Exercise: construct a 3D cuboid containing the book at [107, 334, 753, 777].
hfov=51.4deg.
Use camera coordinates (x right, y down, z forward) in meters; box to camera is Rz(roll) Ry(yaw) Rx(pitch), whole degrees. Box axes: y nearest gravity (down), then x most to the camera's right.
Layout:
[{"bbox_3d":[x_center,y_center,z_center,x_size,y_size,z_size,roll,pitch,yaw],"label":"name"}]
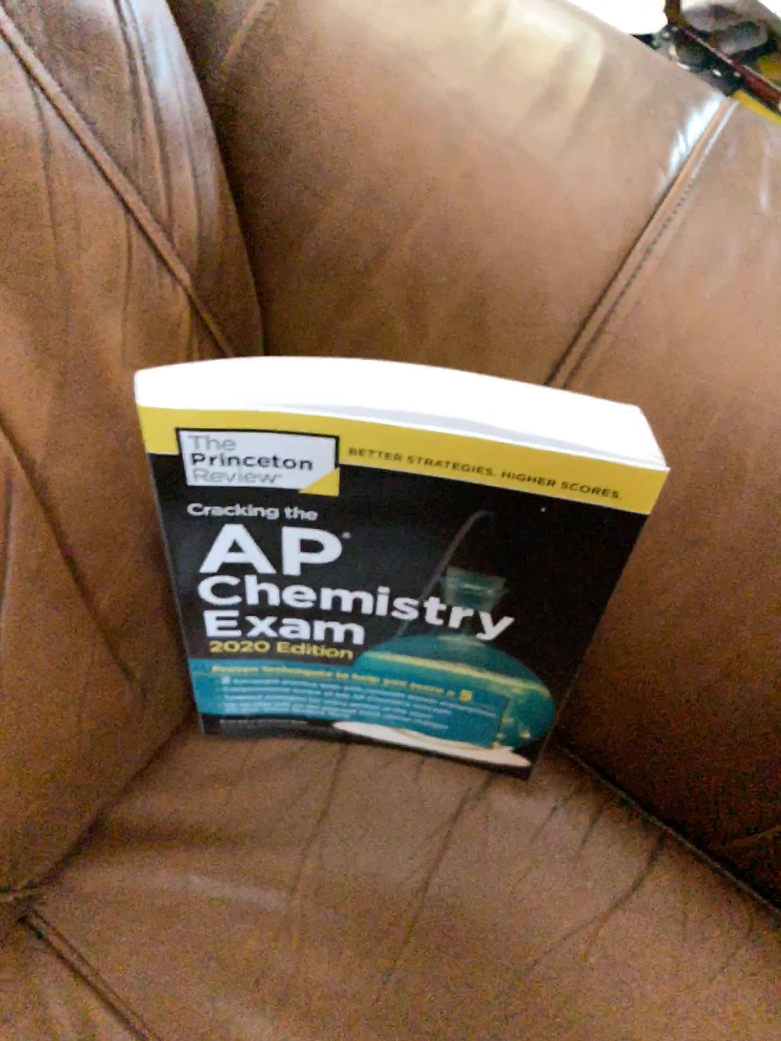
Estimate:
[{"bbox_3d":[0.002,0.052,0.439,0.240,0.319,0.040,8,54,-1],"label":"book"}]
